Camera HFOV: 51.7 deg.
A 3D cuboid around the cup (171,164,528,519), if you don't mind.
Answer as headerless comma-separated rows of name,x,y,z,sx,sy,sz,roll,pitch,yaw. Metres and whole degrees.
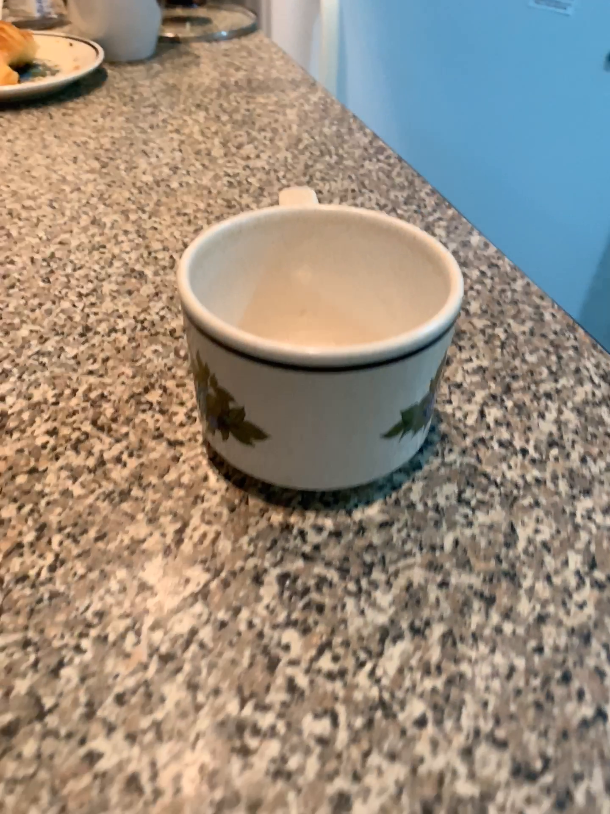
cup,0.003,-0.031,0.213,0.087,0.054,0.117,-5,43,-8
